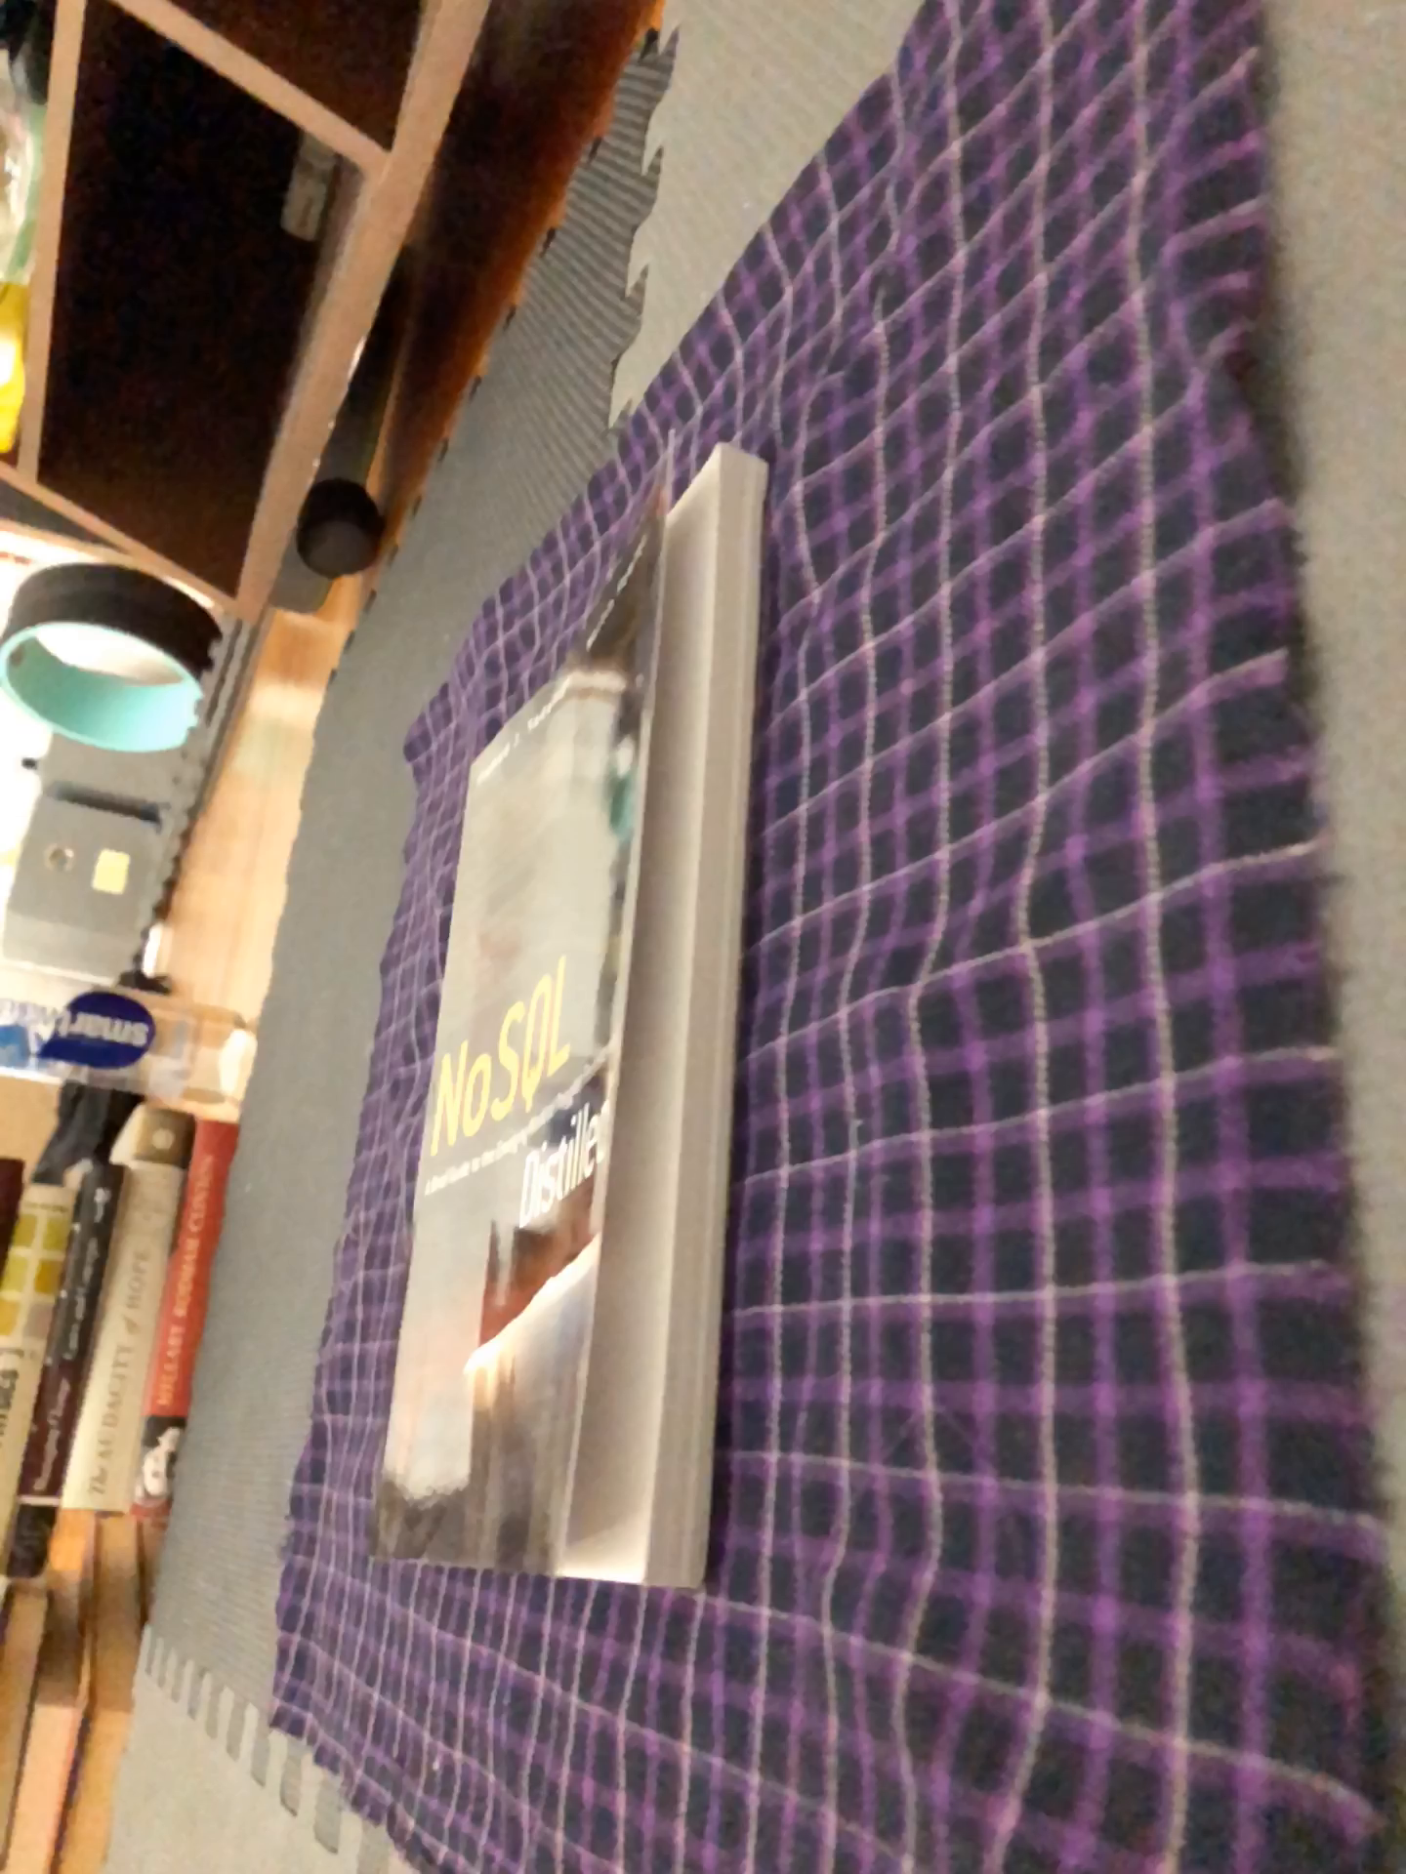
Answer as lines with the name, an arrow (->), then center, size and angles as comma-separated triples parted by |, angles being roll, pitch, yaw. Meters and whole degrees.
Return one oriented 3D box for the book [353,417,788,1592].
book -> -0.038, 0.027, 0.395 | 0.191, 0.020, 0.250 | 142, 137, -58
